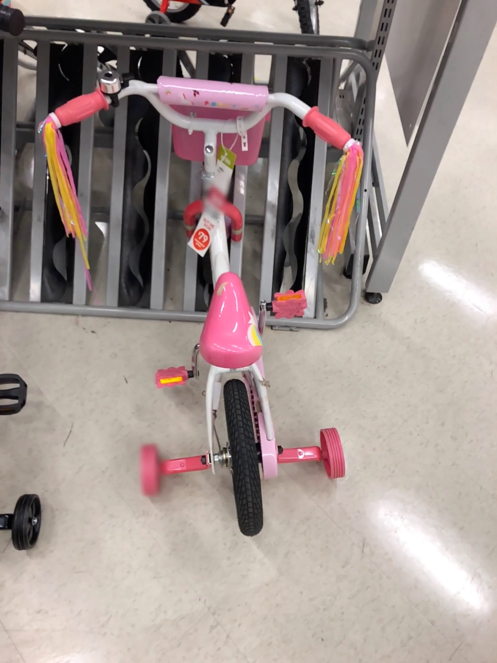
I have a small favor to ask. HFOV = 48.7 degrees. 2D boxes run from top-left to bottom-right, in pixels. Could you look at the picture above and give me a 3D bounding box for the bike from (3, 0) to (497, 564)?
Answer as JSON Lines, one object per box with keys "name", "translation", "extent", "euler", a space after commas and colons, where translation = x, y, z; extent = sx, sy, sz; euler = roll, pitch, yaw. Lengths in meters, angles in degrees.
{"name": "bike", "translation": [-0.052, -0.154, 1.067], "extent": [0.515, 0.591, 0.947], "euler": [-4, 56, -6]}
